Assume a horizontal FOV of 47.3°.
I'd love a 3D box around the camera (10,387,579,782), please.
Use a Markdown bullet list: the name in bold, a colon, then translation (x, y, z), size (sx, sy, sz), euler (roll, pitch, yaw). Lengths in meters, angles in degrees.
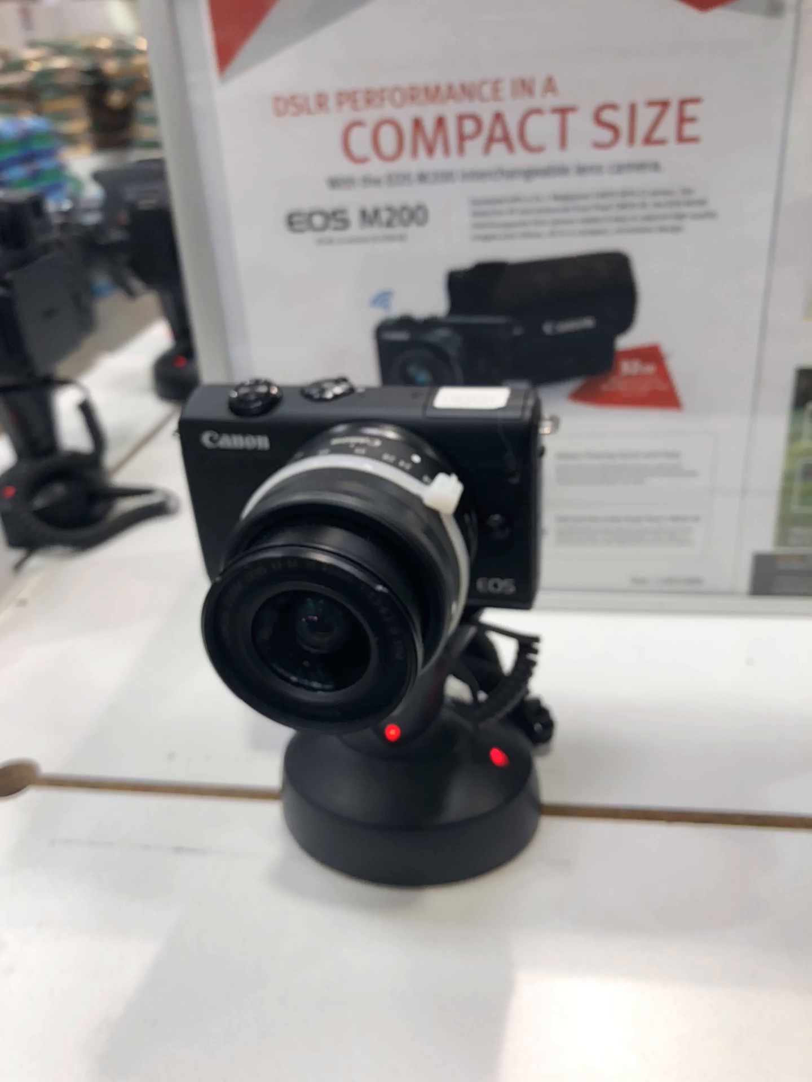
- **camera**: translation (-0.016, 0.001, 0.258), size (0.120, 0.050, 0.120), euler (2, 28, 12)
